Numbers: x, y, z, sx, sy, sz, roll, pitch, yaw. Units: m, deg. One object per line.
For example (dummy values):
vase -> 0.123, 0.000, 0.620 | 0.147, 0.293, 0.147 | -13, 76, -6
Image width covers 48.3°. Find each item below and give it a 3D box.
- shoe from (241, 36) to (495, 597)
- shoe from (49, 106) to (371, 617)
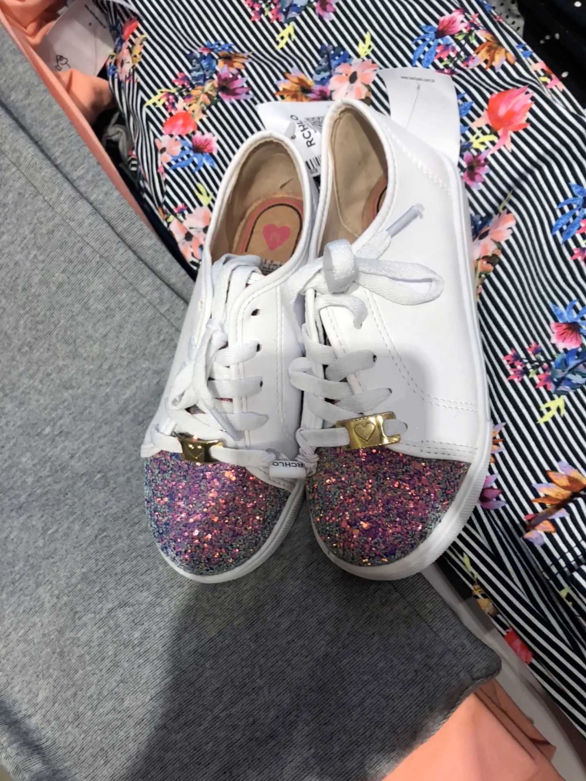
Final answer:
shoe -> 0.038, -0.026, 0.270 | 0.080, 0.070, 0.200 | -1, 78, 23
shoe -> -0.027, -0.014, 0.280 | 0.080, 0.070, 0.190 | 8, 81, 17
